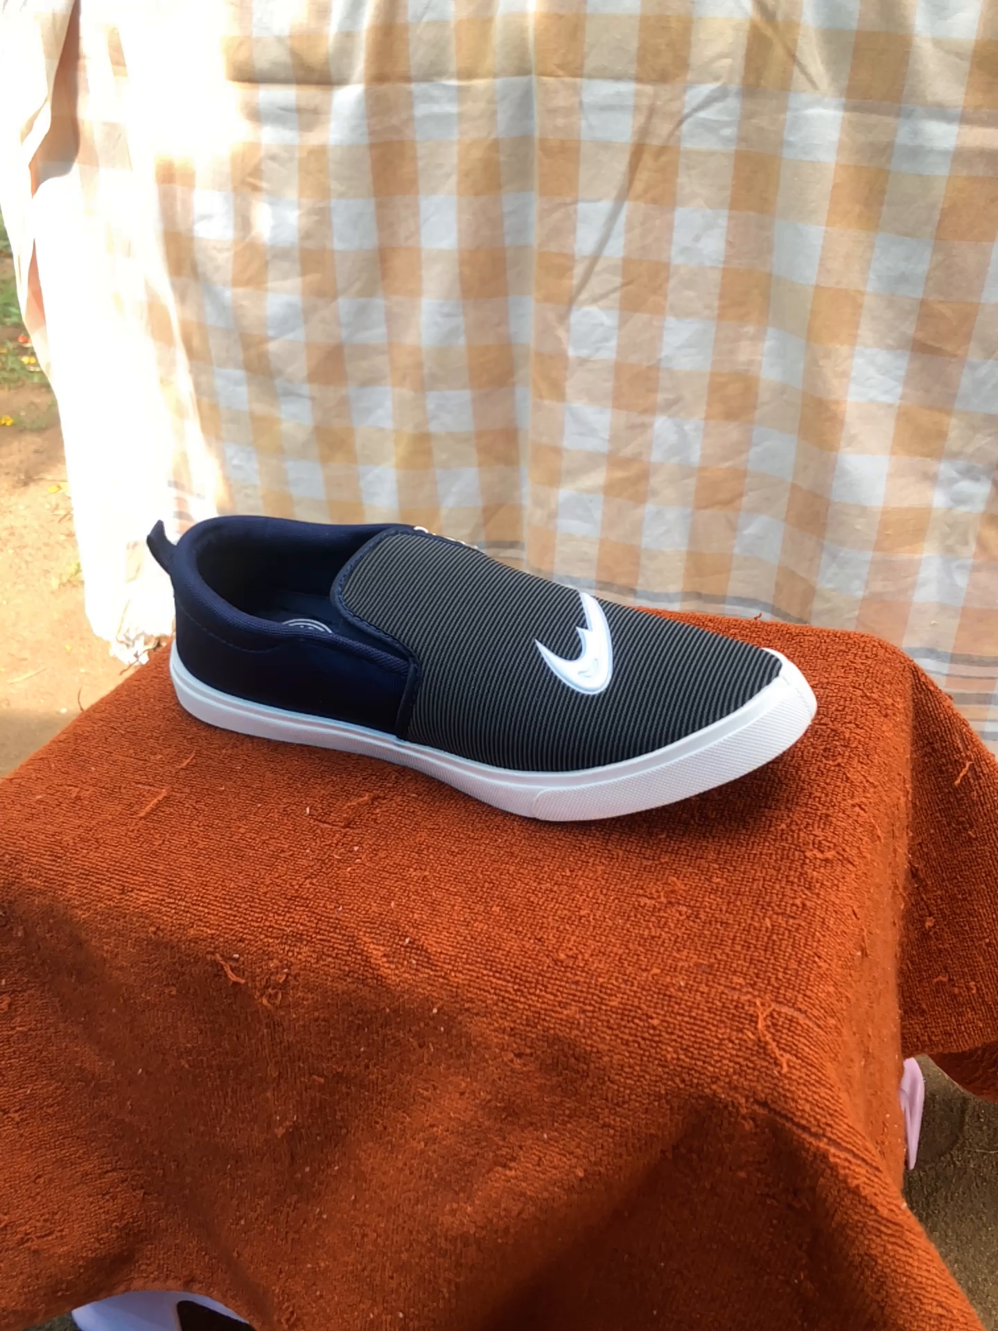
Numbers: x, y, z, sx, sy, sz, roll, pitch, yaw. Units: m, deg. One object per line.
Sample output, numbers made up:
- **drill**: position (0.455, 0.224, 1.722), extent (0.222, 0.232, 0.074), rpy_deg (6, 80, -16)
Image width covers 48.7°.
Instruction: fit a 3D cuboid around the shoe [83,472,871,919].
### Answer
- **shoe**: position (-0.016, -0.004, 0.456), extent (0.300, 0.080, 0.101), rpy_deg (13, 36, 25)
